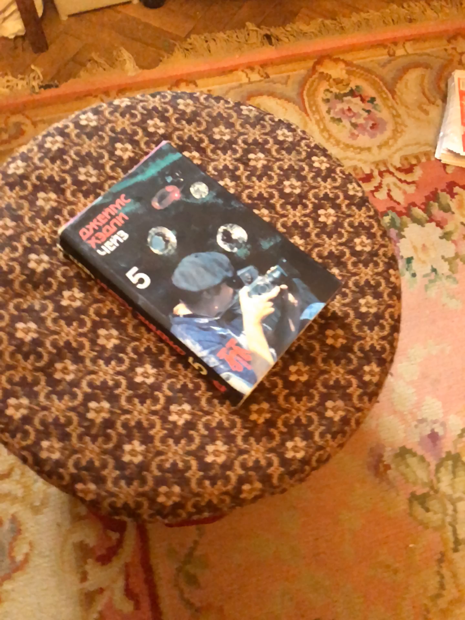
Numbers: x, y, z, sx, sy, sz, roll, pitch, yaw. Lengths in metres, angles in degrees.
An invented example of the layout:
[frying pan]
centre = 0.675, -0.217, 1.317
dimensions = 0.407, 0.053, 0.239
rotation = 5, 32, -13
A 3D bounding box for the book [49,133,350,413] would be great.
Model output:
[book]
centre = -0.025, -0.038, 0.426
dimensions = 0.205, 0.020, 0.140
rotation = 42, 70, 7
